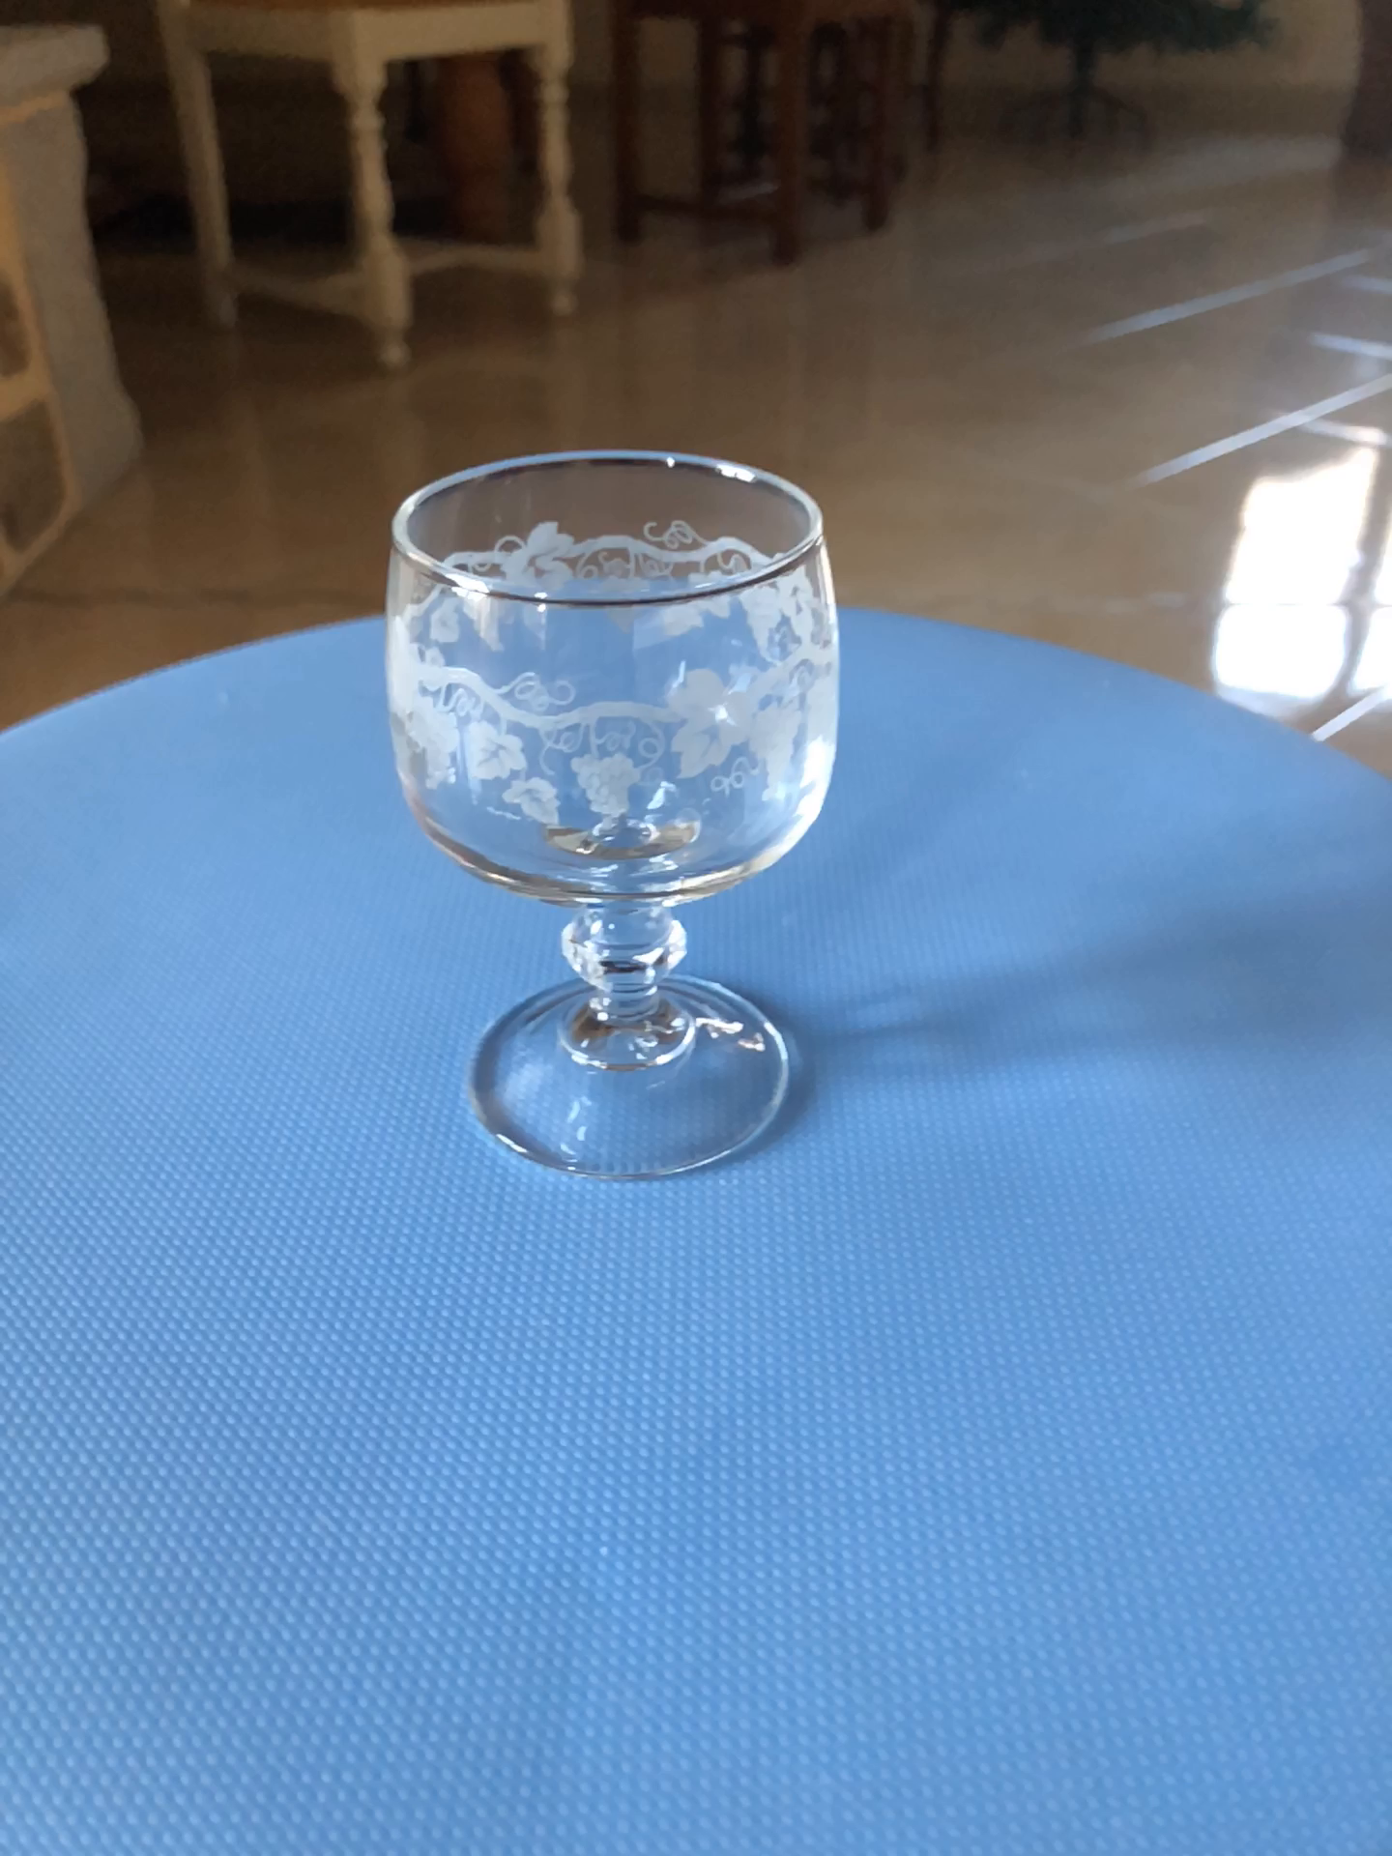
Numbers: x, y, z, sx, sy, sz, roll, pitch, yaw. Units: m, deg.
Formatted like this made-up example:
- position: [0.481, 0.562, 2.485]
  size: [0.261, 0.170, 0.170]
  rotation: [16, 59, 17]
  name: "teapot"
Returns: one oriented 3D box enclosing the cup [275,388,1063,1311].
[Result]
- position: [-0.002, -0.014, 0.189]
  size: [0.060, 0.080, 0.060]
  rotation: [0, 33, 0]
  name: "cup"
